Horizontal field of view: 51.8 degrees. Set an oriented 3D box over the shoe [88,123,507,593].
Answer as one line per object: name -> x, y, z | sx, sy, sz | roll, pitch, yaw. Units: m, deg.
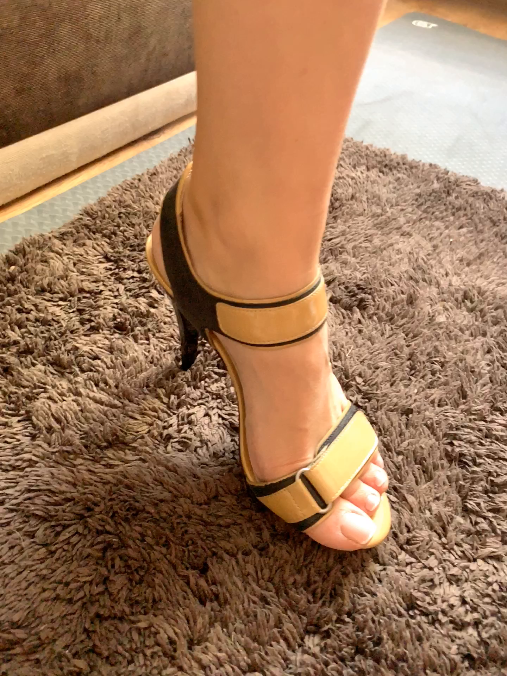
shoe -> 0.013, 0.003, 0.286 | 0.200, 0.149, 0.090 | 38, 50, 26
